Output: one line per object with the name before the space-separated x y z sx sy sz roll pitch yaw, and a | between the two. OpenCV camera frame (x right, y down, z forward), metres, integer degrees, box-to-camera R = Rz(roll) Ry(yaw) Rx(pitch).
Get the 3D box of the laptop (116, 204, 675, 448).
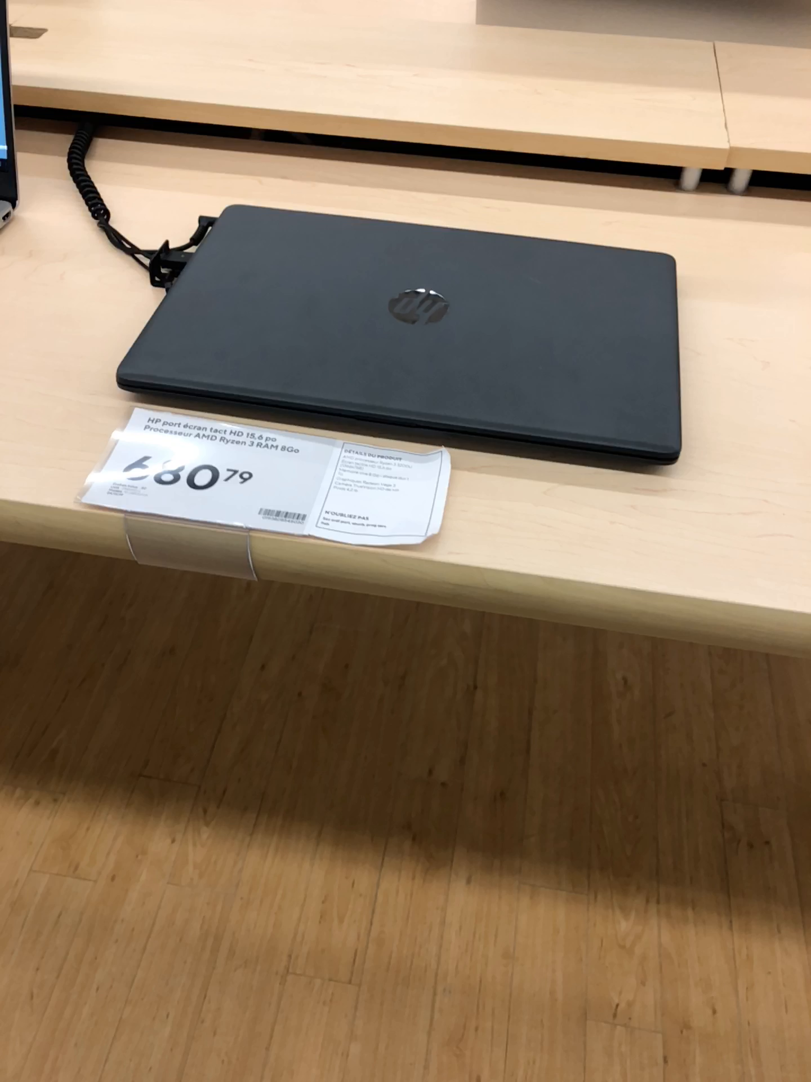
laptop | 0.010 -0.176 0.673 0.373 0.005 0.245 9 47 6
